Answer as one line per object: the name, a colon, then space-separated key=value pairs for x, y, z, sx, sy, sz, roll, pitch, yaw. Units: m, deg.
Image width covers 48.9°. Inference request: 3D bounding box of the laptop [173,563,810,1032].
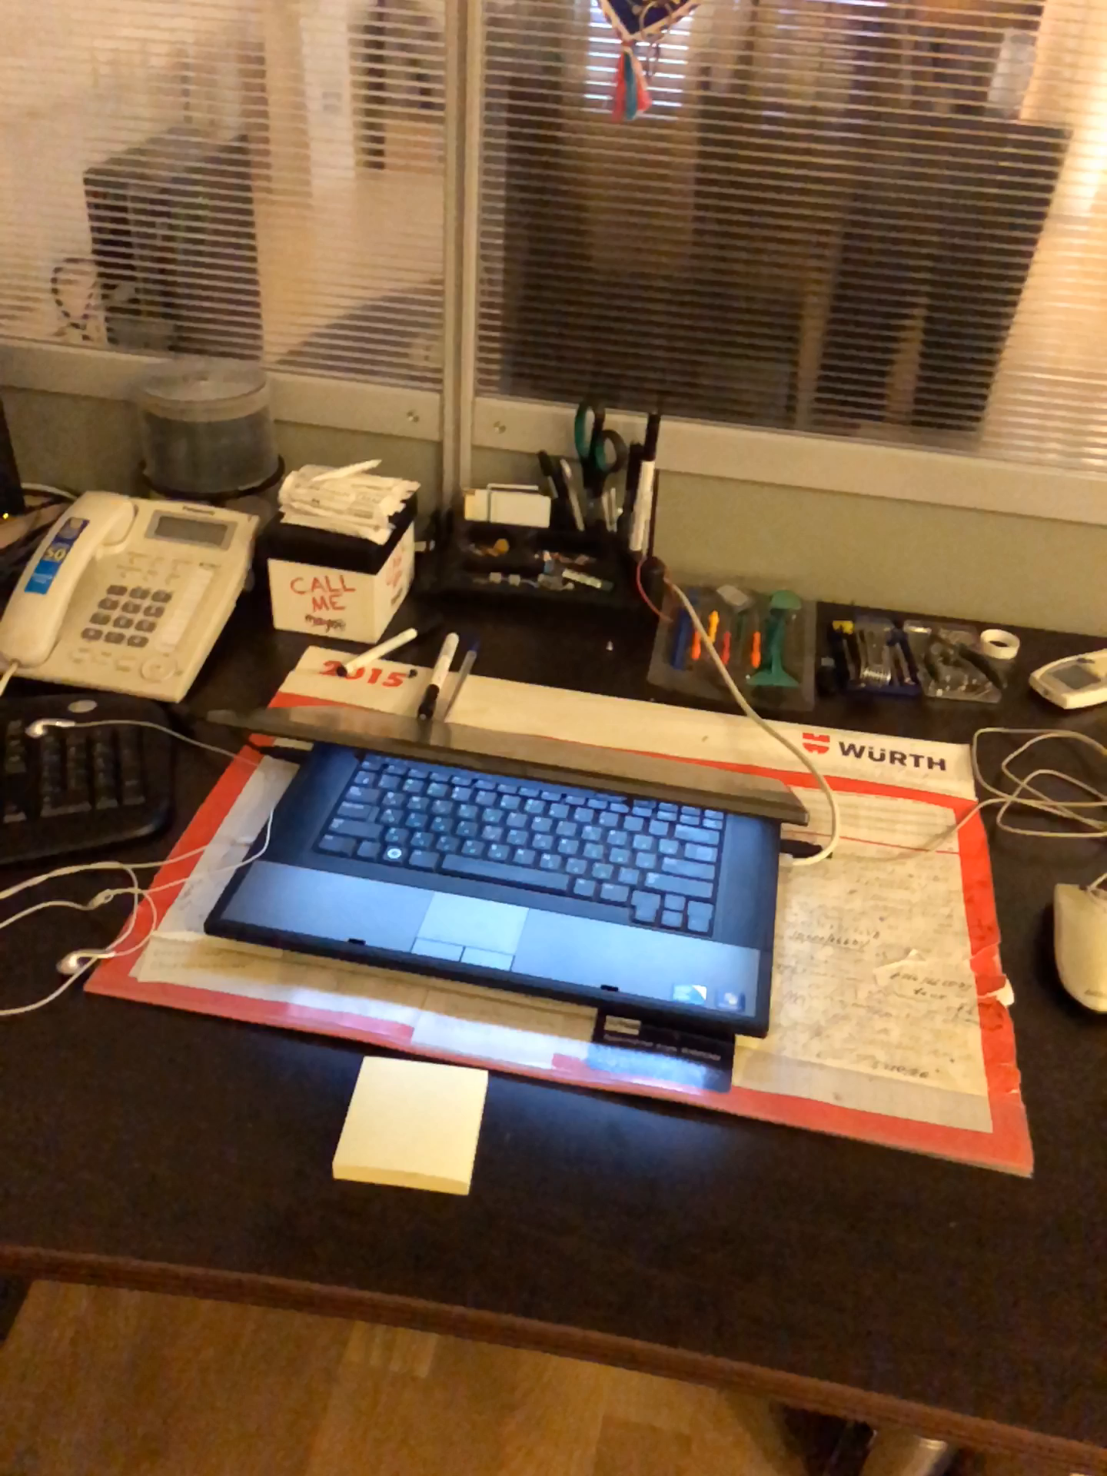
laptop: x=-0.023 y=0.026 z=0.813 sx=0.357 sy=0.141 sz=0.240 roll=10 pitch=35 yaw=6
